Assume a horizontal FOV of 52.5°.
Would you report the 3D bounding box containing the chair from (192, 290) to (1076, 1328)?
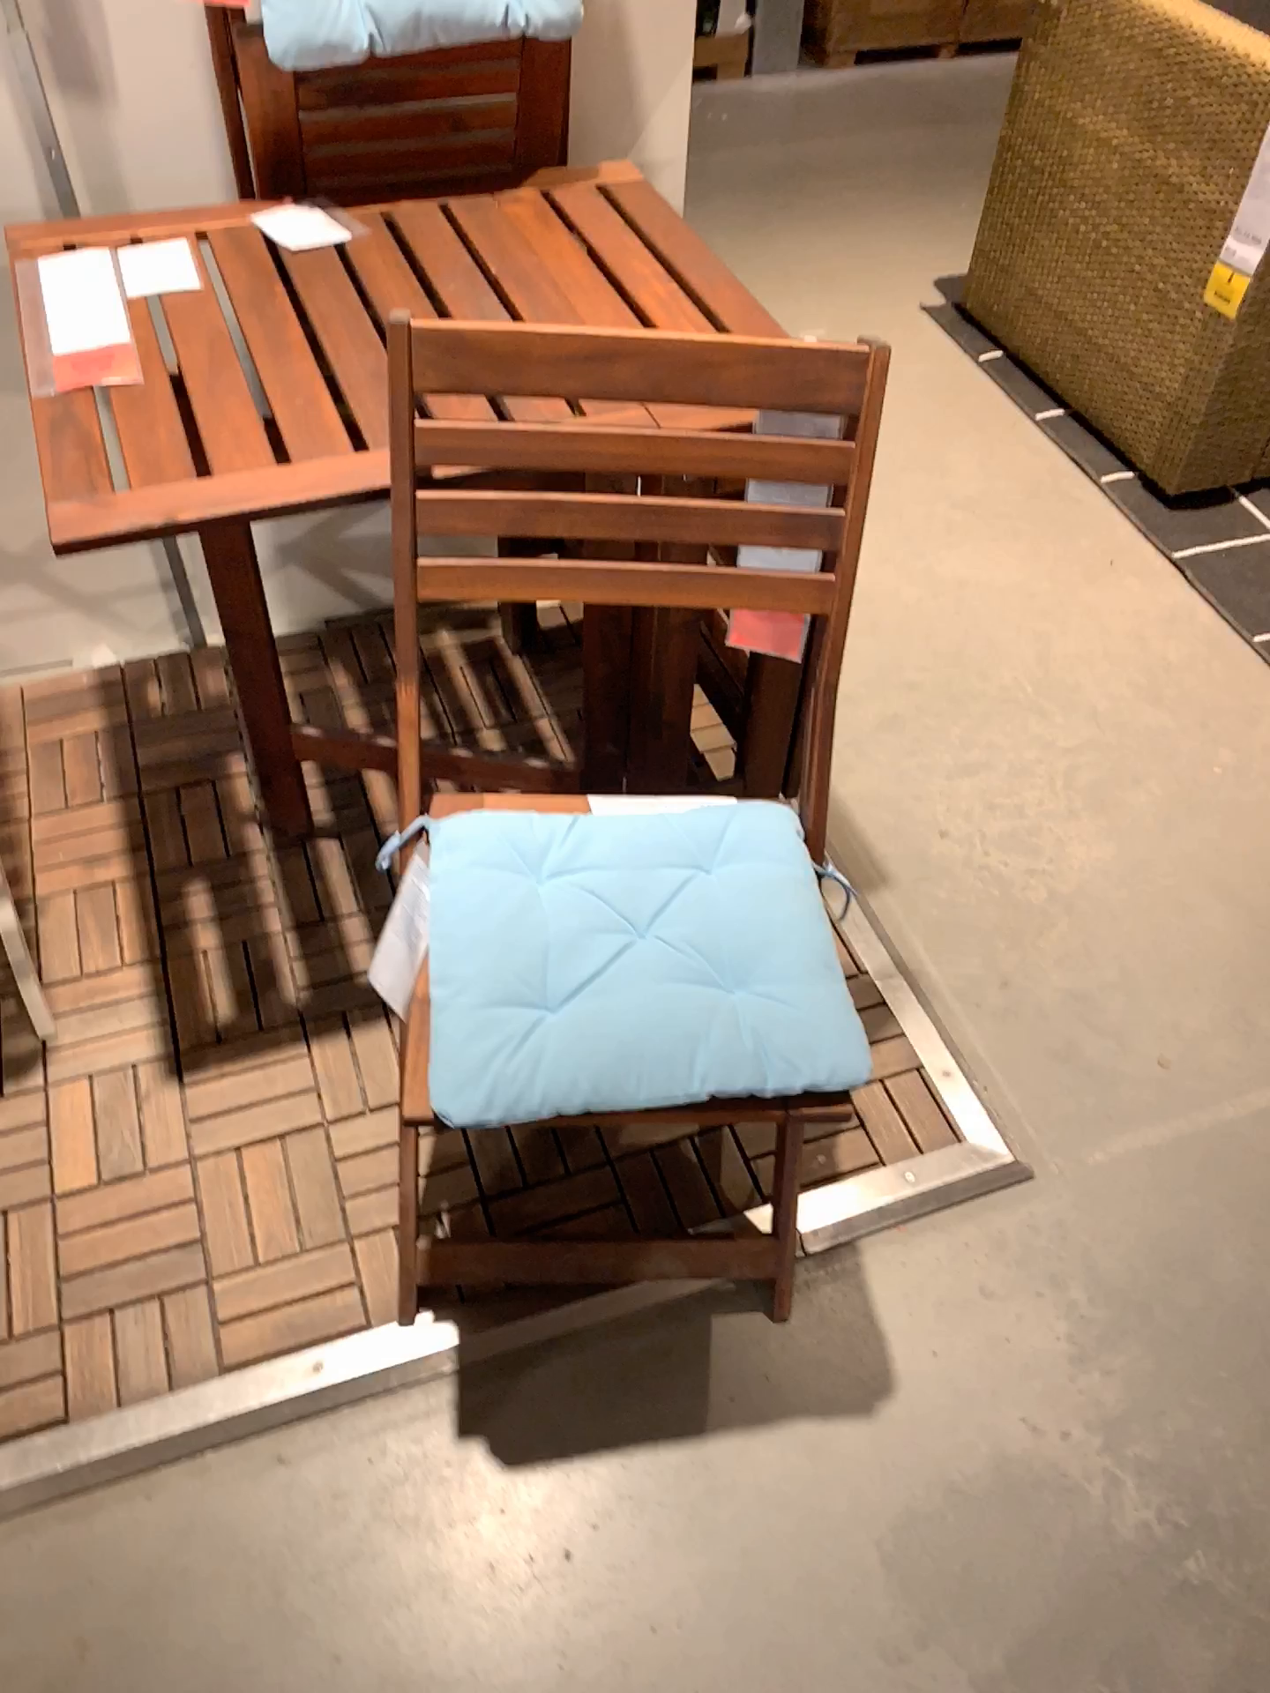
[{"bbox_3d":[-0.020,0.012,1.146,0.470,0.777,0.522,0,48,-3],"label":"chair"}]
